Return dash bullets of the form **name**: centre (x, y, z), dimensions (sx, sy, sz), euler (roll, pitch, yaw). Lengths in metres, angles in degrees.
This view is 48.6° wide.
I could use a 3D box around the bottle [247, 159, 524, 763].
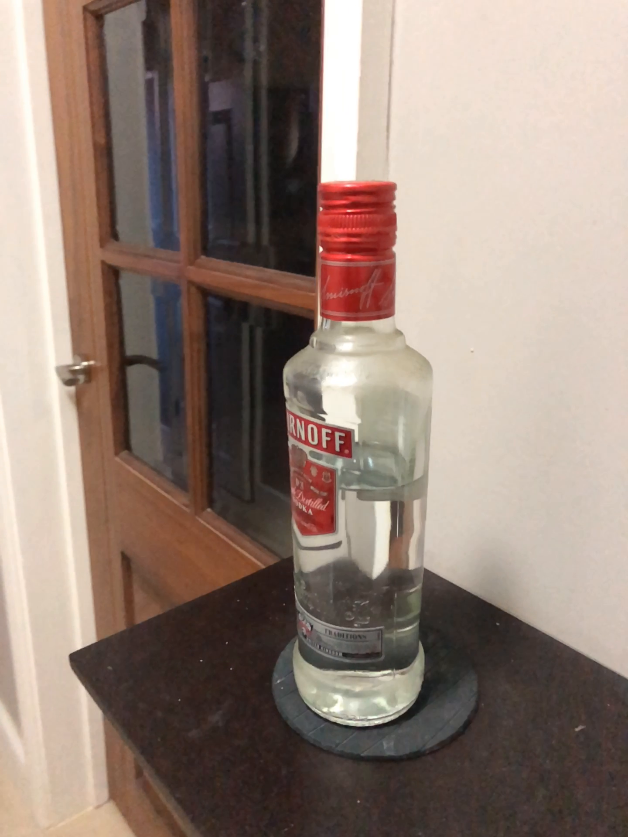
- **bottle**: centre (0.022, 0.014, 0.280), dimensions (0.070, 0.219, 0.070), euler (1, 18, 0)
